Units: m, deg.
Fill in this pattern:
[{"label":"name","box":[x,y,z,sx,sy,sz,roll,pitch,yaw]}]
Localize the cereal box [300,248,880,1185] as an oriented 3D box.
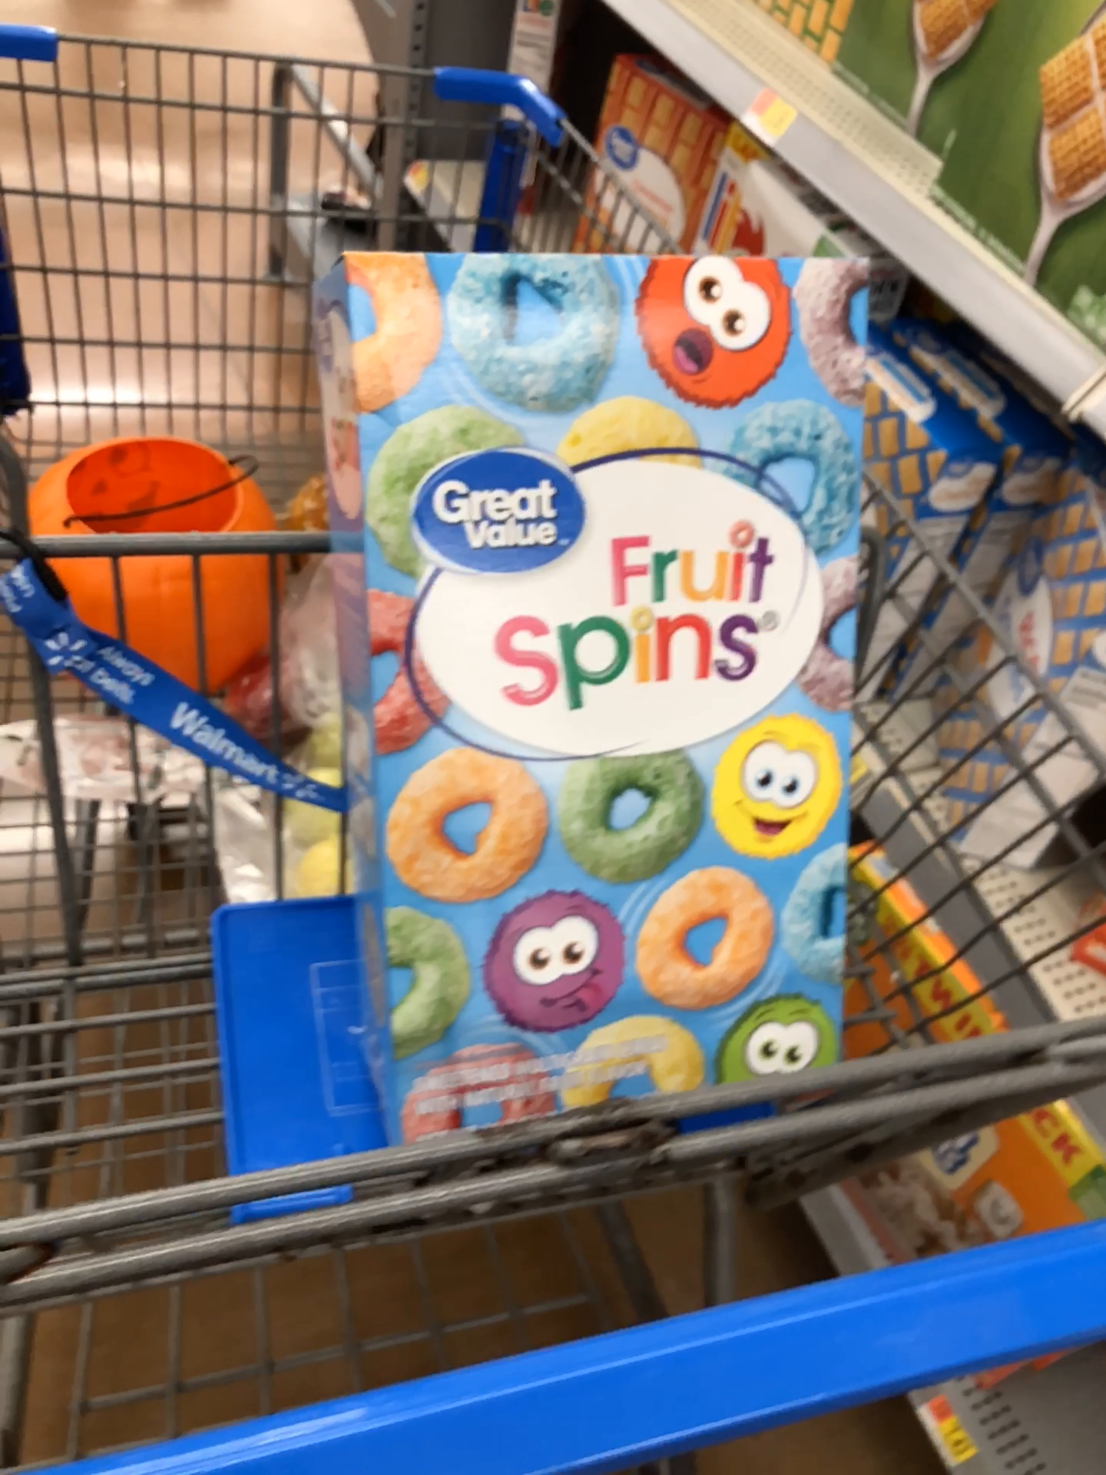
[{"label":"cereal box","box":[0.013,-0.011,0.507,0.200,0.340,0.090,-5,15,-18]}]
